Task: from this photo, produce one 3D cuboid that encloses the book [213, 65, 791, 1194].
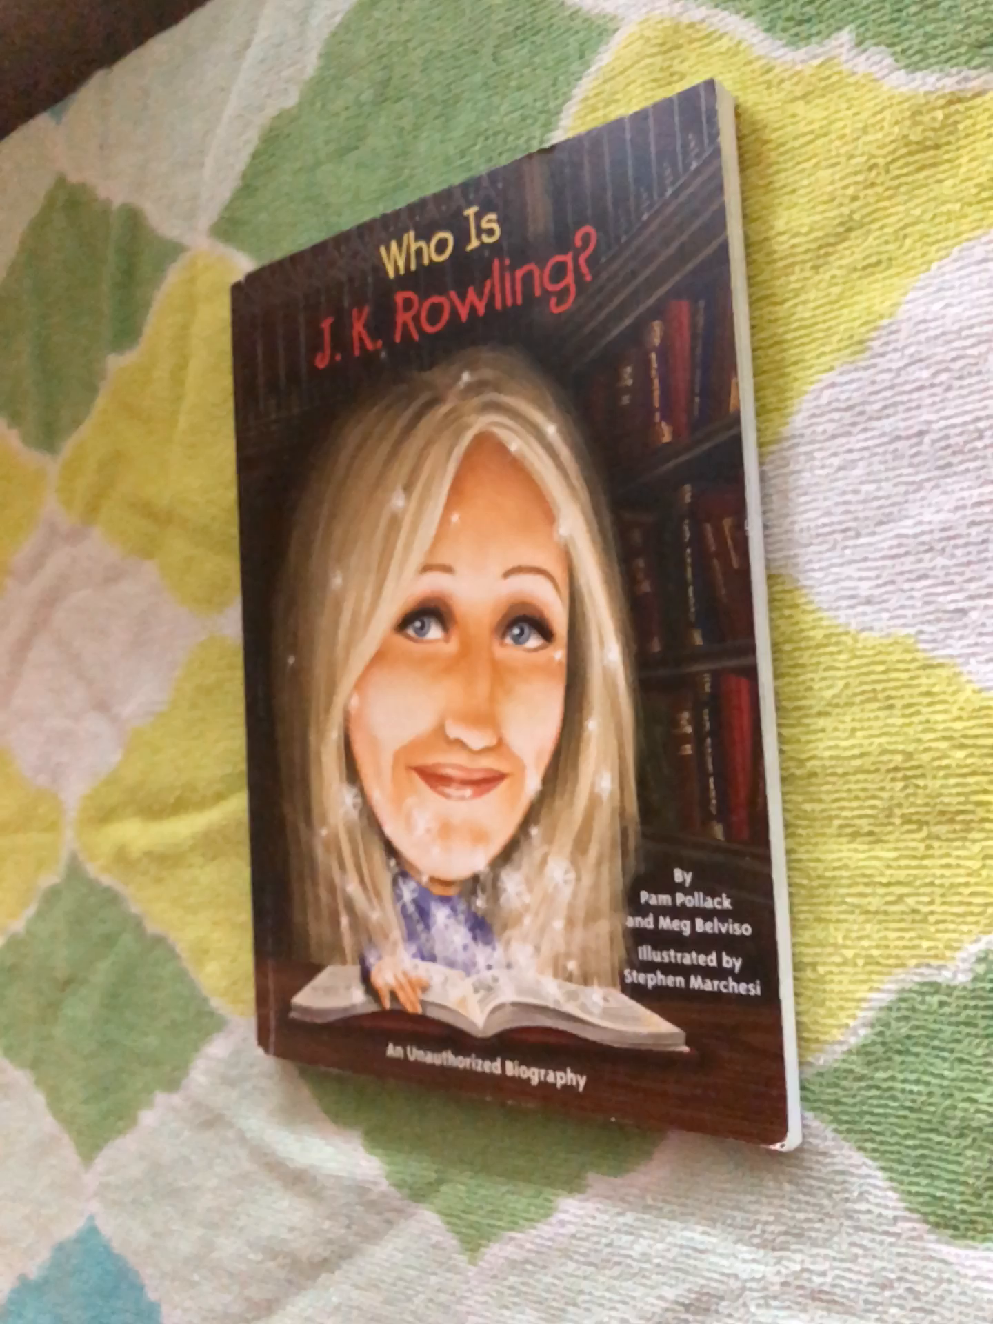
[{"bbox_3d":[-0.009,-0.004,0.225,0.126,0.012,0.187,-5,85,36],"label":"book"}]
